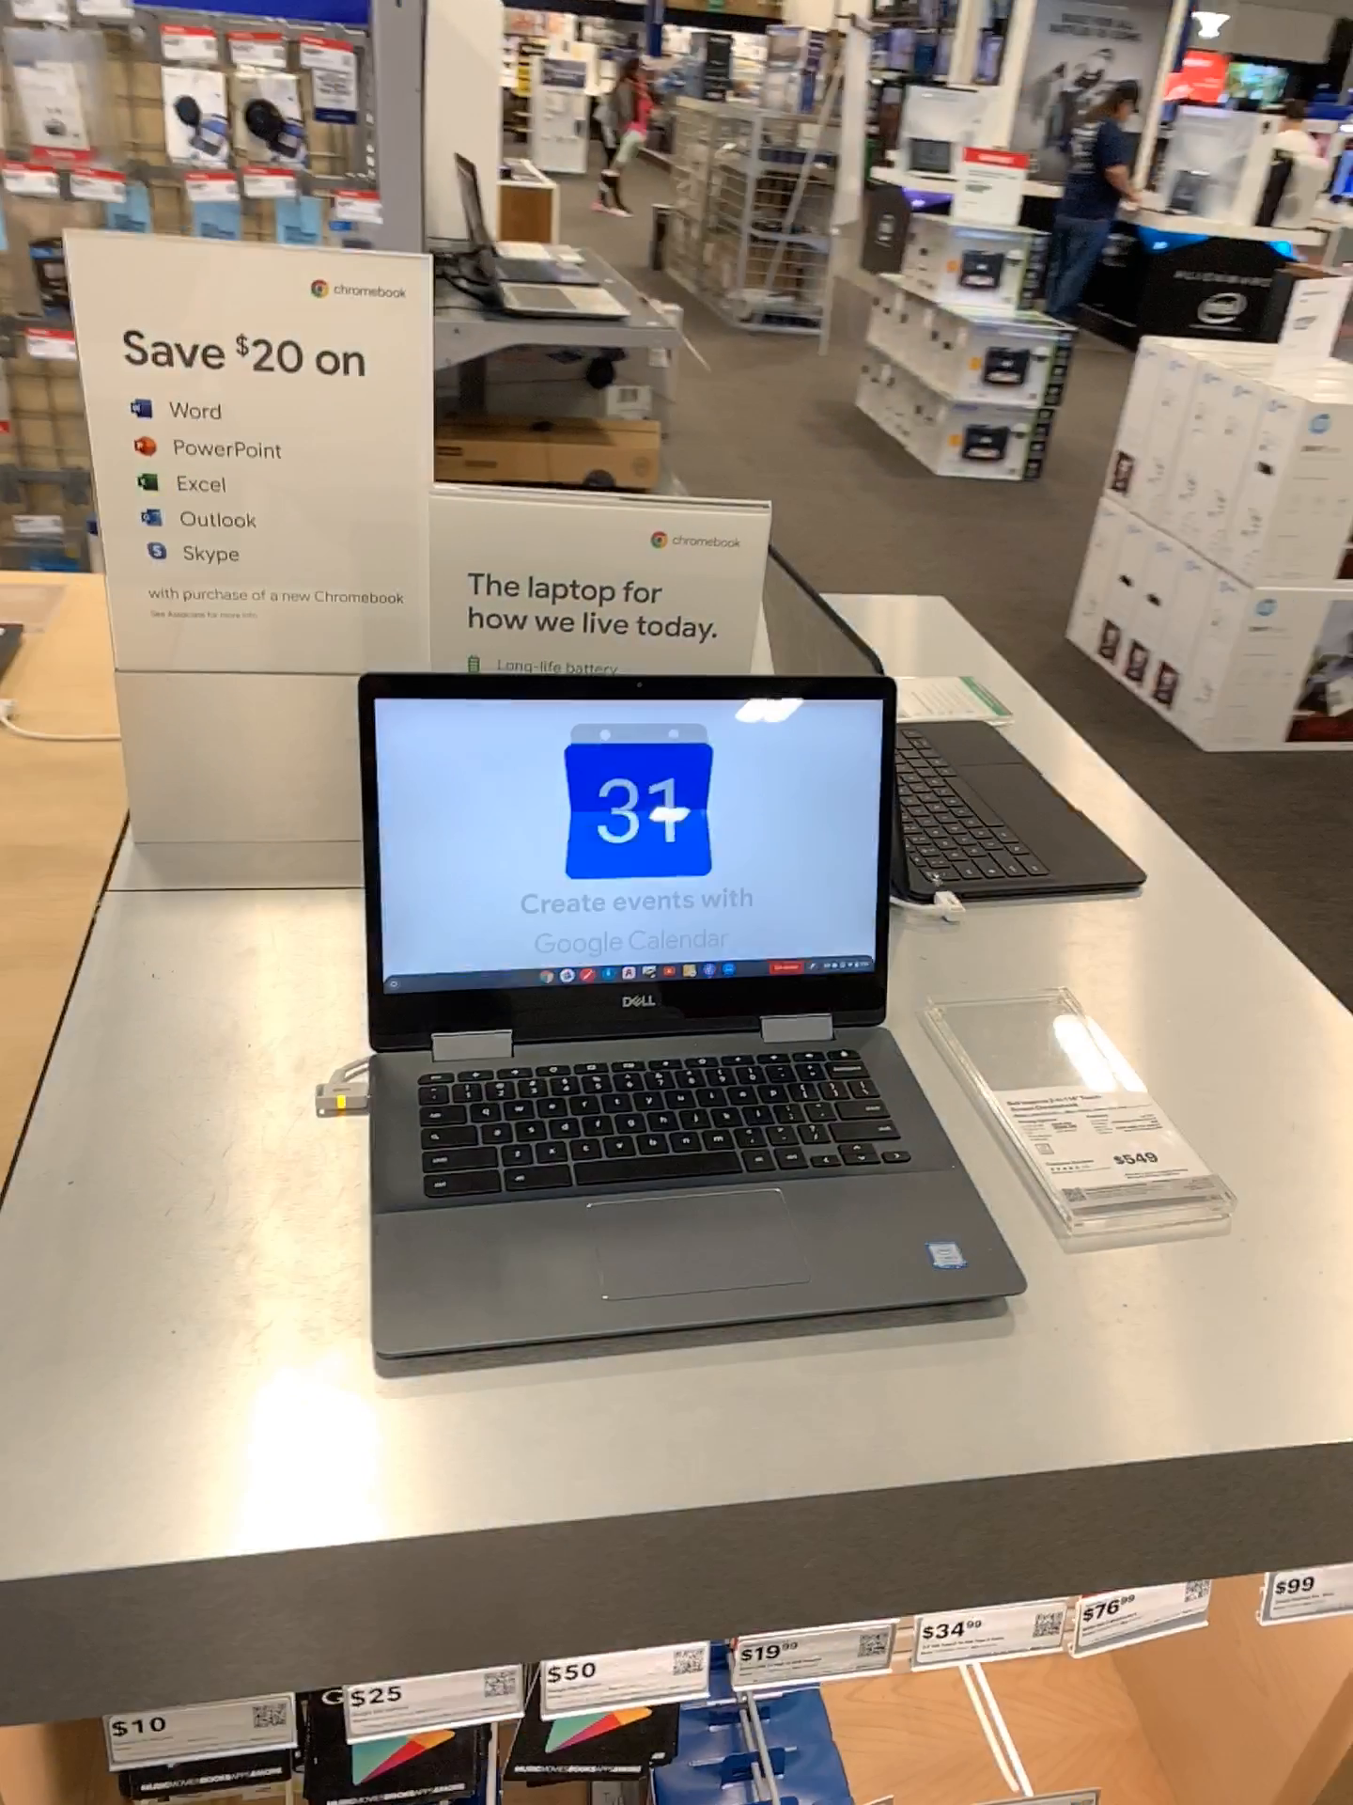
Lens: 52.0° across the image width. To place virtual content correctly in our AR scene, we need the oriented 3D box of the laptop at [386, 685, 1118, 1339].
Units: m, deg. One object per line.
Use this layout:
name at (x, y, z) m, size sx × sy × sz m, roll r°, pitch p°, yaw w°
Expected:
laptop at (0.005, 0.034, 0.742) m, size 0.309 × 0.202 × 0.294 m, roll -2°, pitch 30°, yaw -11°
